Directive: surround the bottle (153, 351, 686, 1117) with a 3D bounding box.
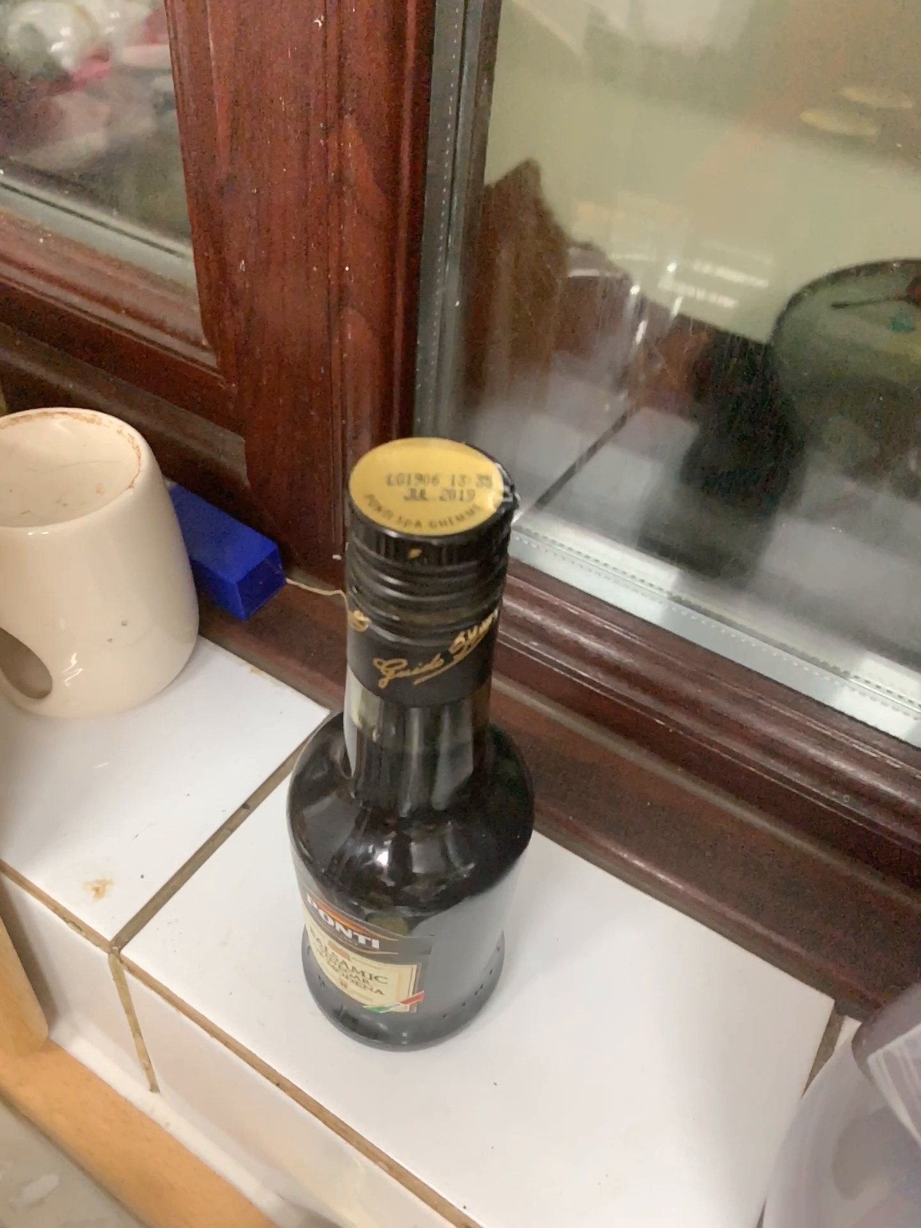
[{"bbox_3d":[-0.012,0.041,0.236,0.070,0.178,0.071,3,44,-3],"label":"bottle"}]
